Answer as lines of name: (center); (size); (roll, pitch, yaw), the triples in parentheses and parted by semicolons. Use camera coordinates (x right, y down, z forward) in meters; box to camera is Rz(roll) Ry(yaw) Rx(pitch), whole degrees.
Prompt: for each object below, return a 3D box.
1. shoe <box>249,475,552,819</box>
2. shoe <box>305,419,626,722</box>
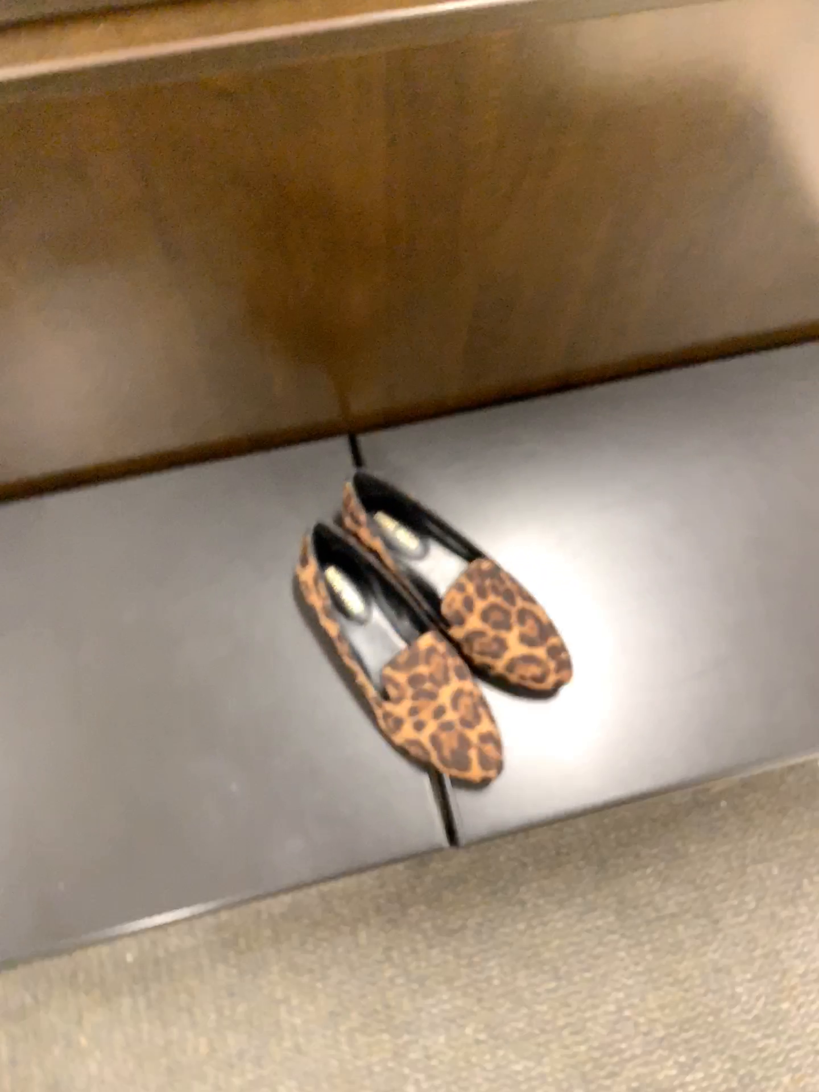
shoe: (-0.012, 0.078, 0.663); (0.090, 0.090, 0.247); (-35, 74, -14)
shoe: (0.039, 0.020, 0.698); (0.247, 0.090, 0.090); (39, 72, 12)
